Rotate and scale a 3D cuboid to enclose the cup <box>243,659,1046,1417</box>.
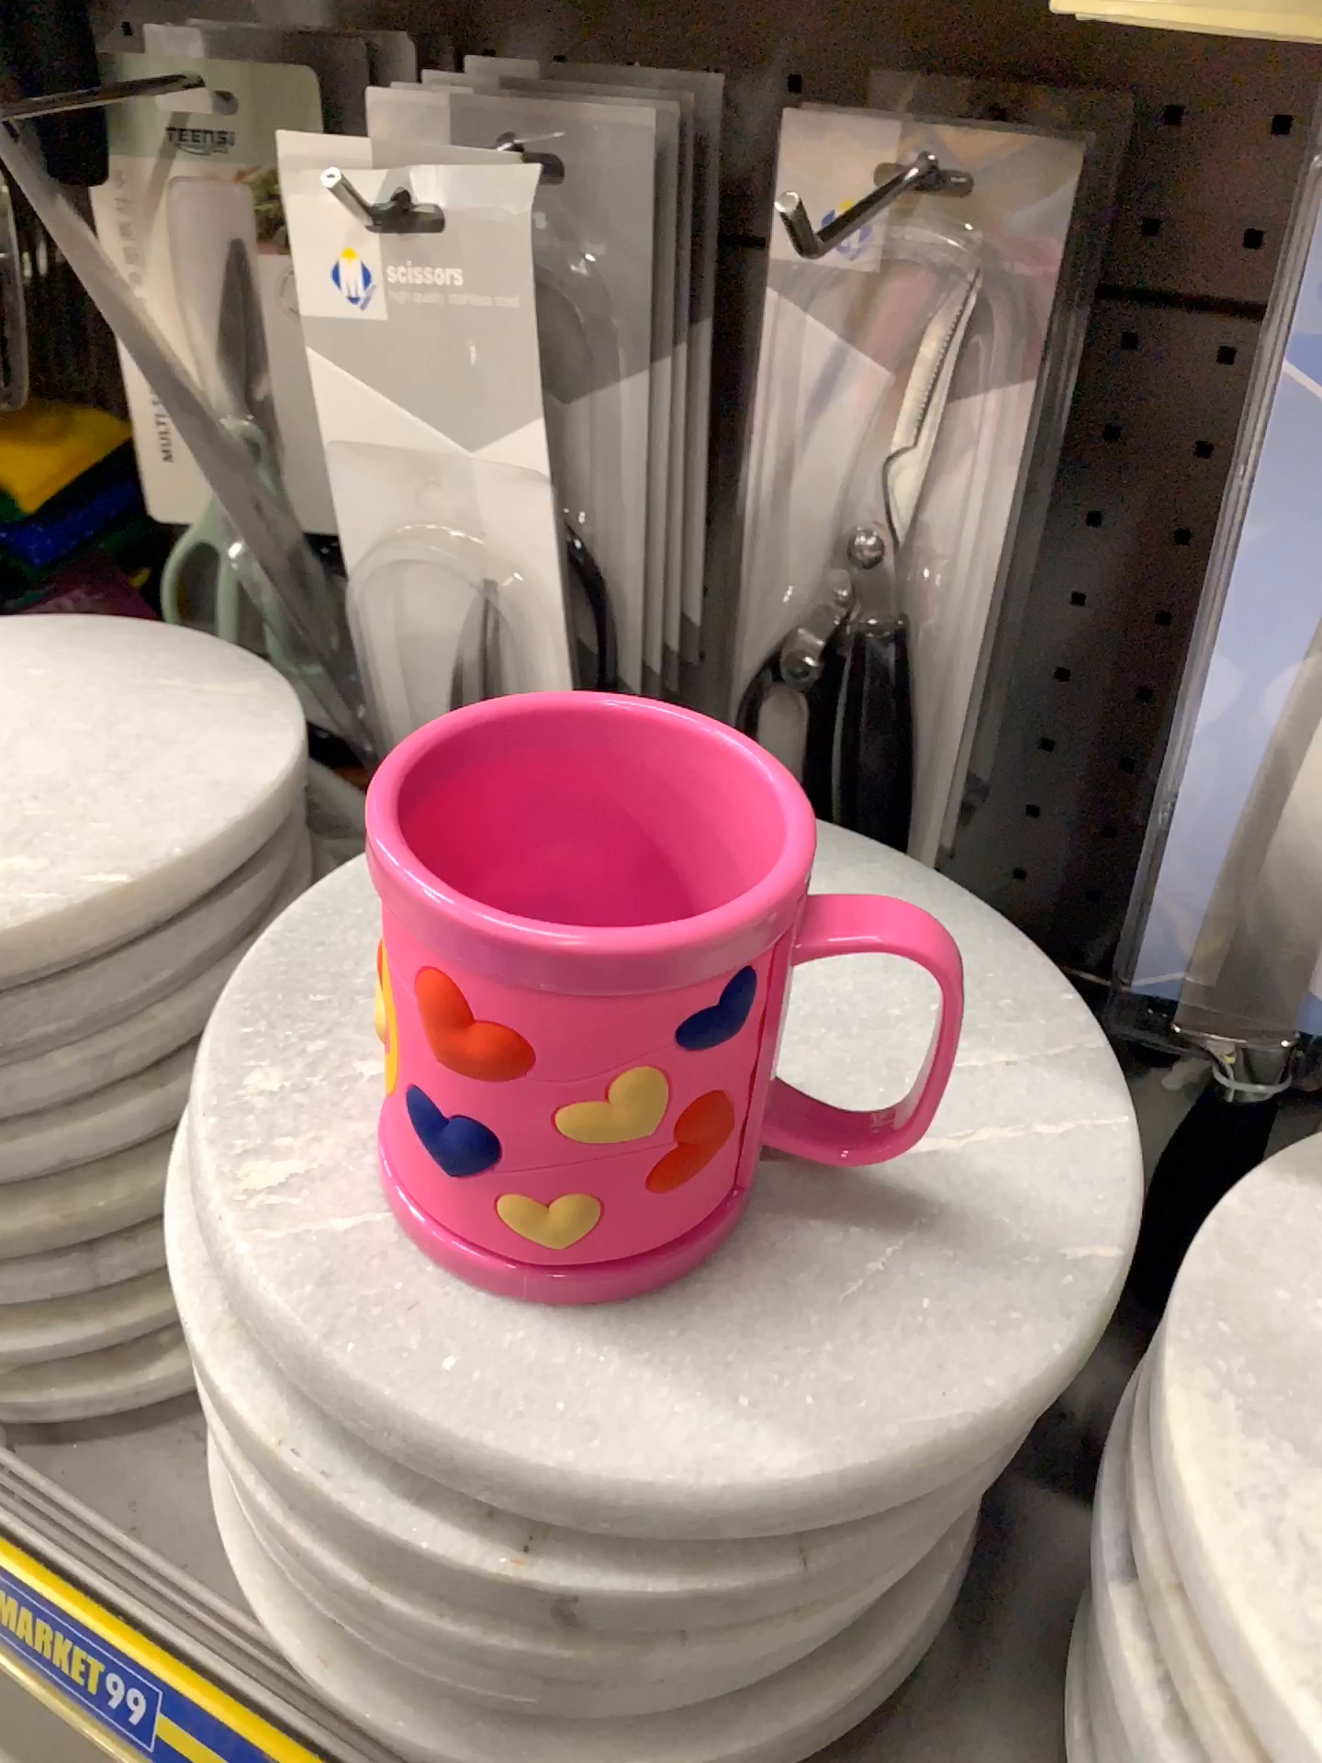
[{"bbox_3d":[0.002,0.026,0.261,0.120,0.100,0.080,7,36,8],"label":"cup"}]
